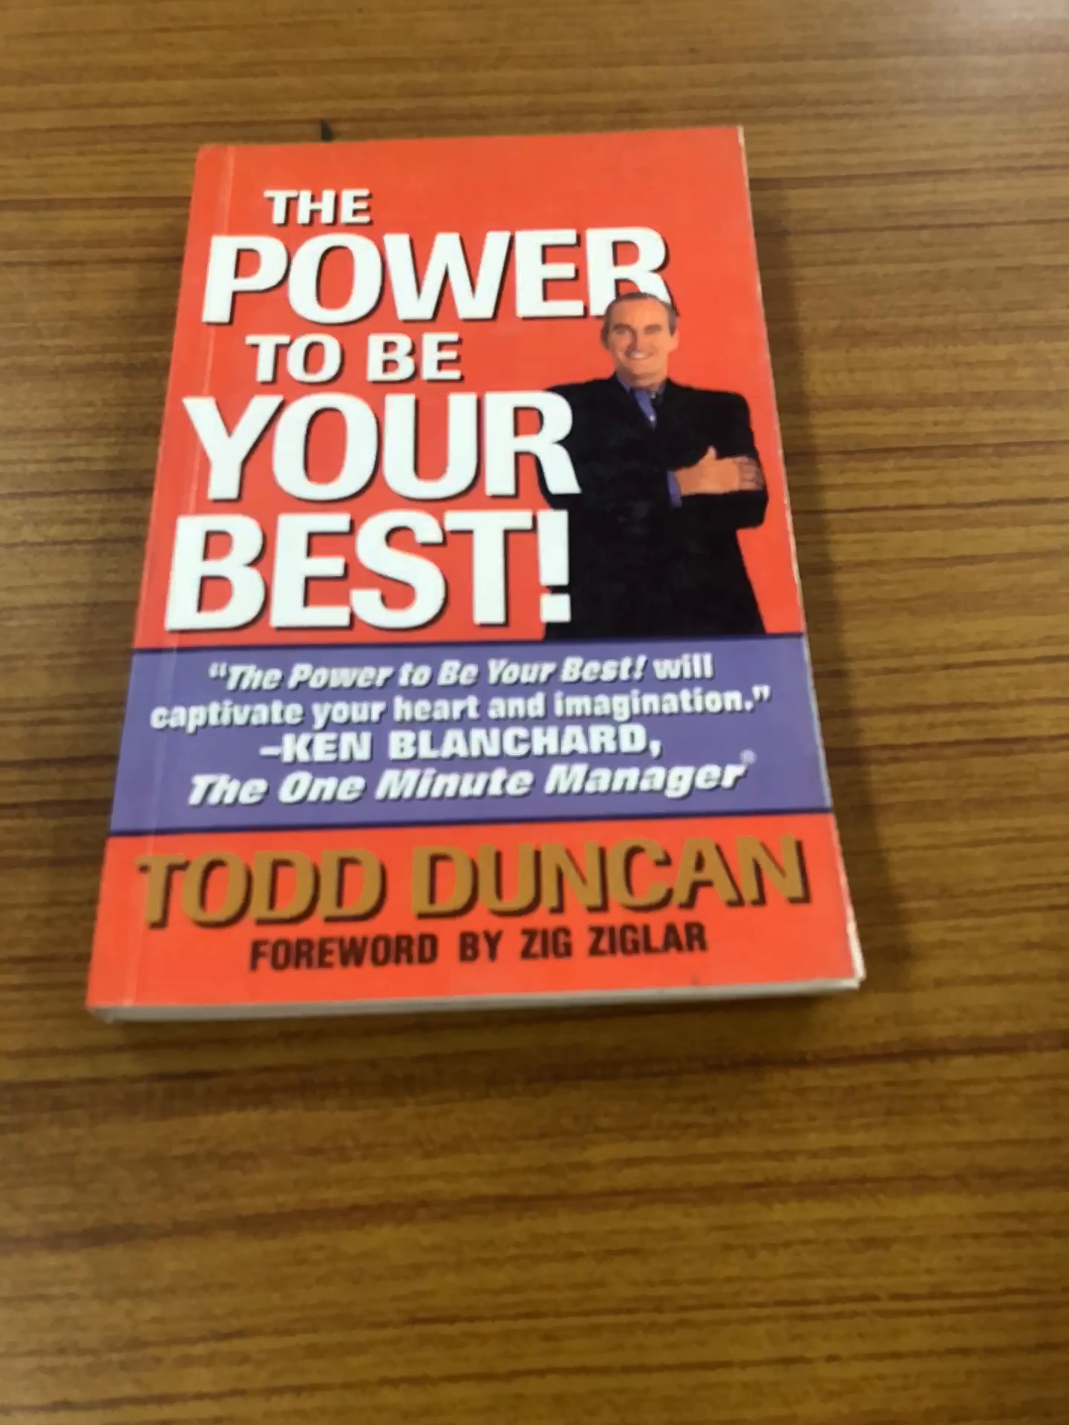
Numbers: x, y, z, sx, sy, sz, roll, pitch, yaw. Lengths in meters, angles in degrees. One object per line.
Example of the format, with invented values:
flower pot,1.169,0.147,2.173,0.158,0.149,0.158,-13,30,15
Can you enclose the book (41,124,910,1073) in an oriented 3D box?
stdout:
book,-0.012,-0.038,0.262,0.150,0.030,0.220,-1,66,0
